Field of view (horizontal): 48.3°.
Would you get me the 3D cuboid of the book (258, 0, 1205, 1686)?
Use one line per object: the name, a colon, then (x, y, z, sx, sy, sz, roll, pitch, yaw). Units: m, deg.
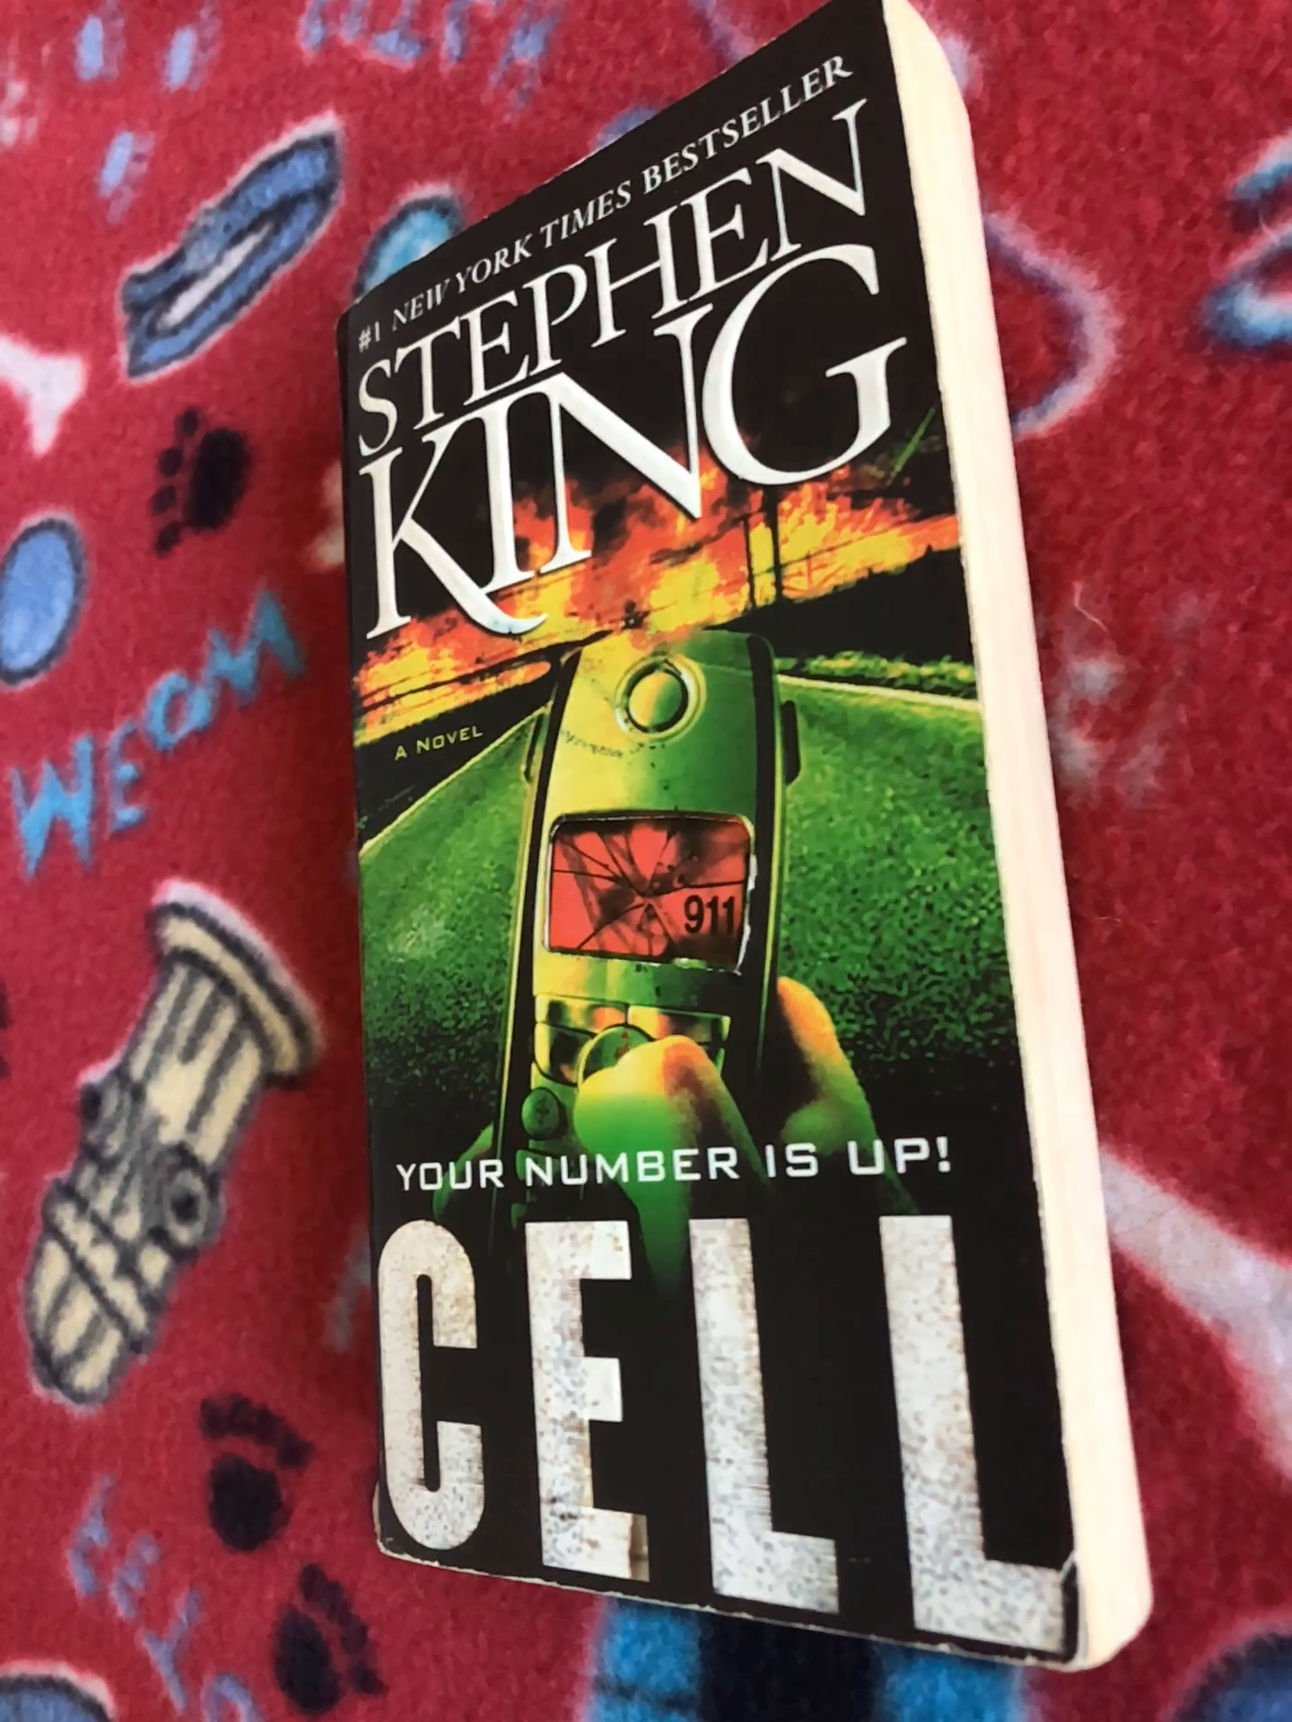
book: (0.000, -0.007, 0.203, 0.120, 0.030, 0.200, -10, 78, 33)
